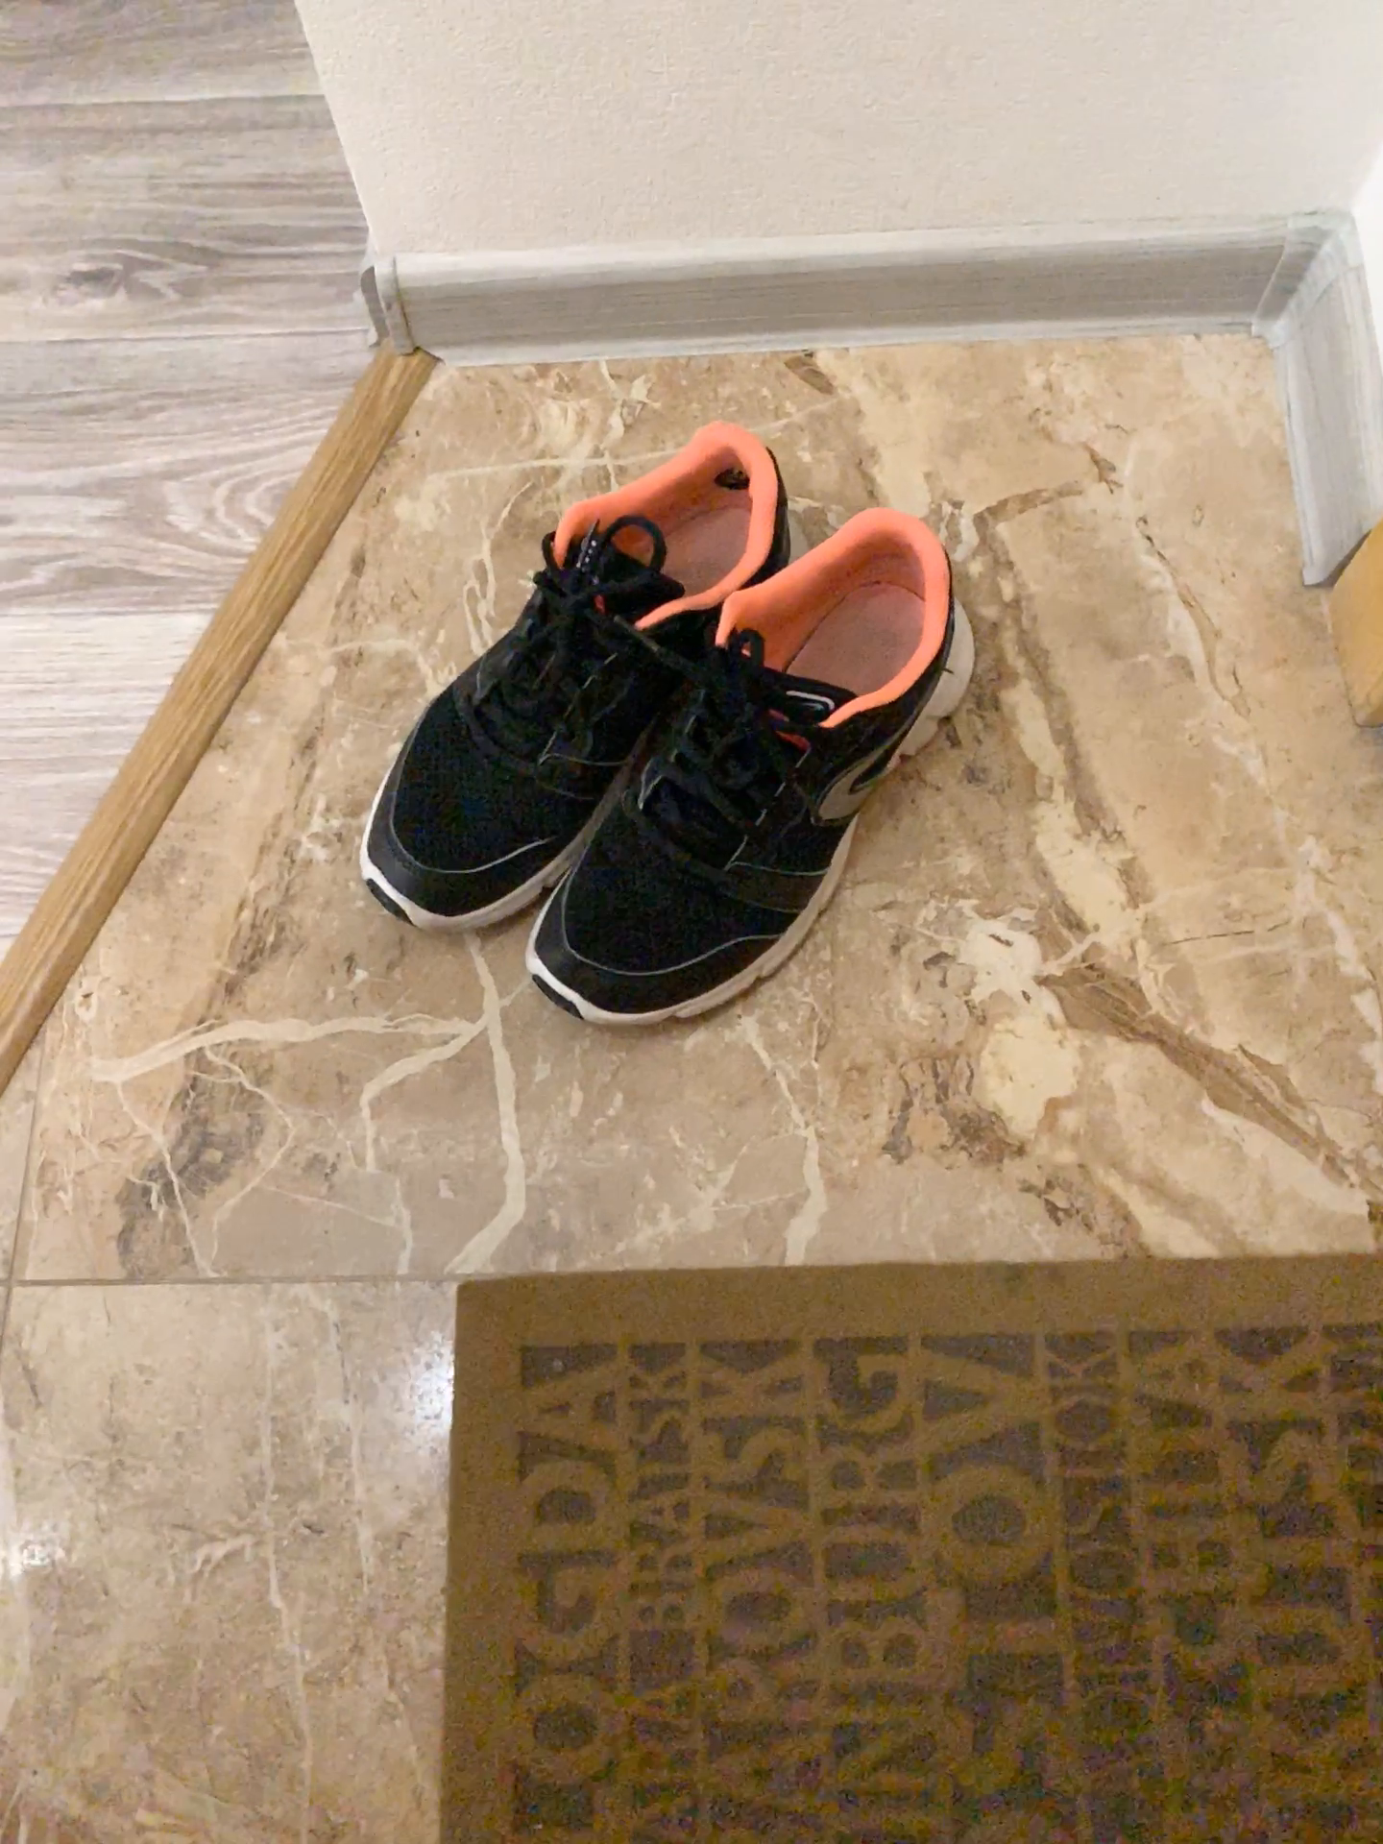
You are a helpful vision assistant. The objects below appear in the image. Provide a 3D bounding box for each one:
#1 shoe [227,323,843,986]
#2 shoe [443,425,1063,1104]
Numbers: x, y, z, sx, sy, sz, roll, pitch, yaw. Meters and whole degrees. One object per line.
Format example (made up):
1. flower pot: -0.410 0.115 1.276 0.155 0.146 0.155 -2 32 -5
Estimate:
1. shoe: -0.055 -0.111 0.596 0.100 0.100 0.250 37 76 14
2. shoe: 0.028 -0.062 0.572 0.100 0.100 0.244 37 76 14
